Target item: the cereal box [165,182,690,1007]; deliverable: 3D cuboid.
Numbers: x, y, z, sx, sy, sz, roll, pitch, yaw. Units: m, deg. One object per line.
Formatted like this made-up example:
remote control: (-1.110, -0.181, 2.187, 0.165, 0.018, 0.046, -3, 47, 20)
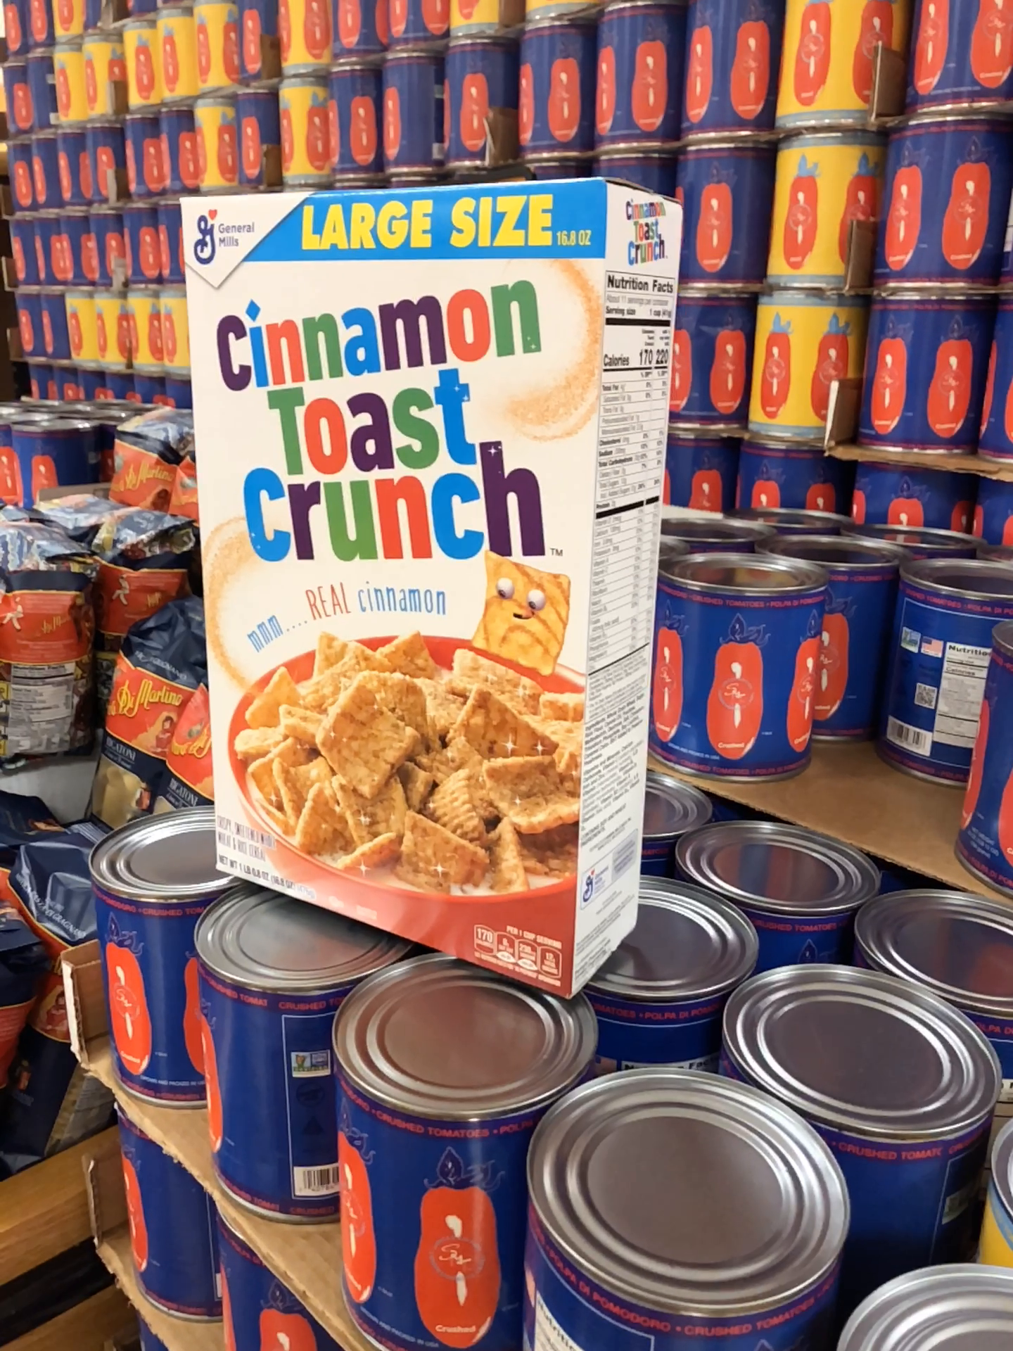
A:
cereal box: (-0.038, -0.039, 0.473, 0.200, 0.298, 0.070, 12, 20, 31)
